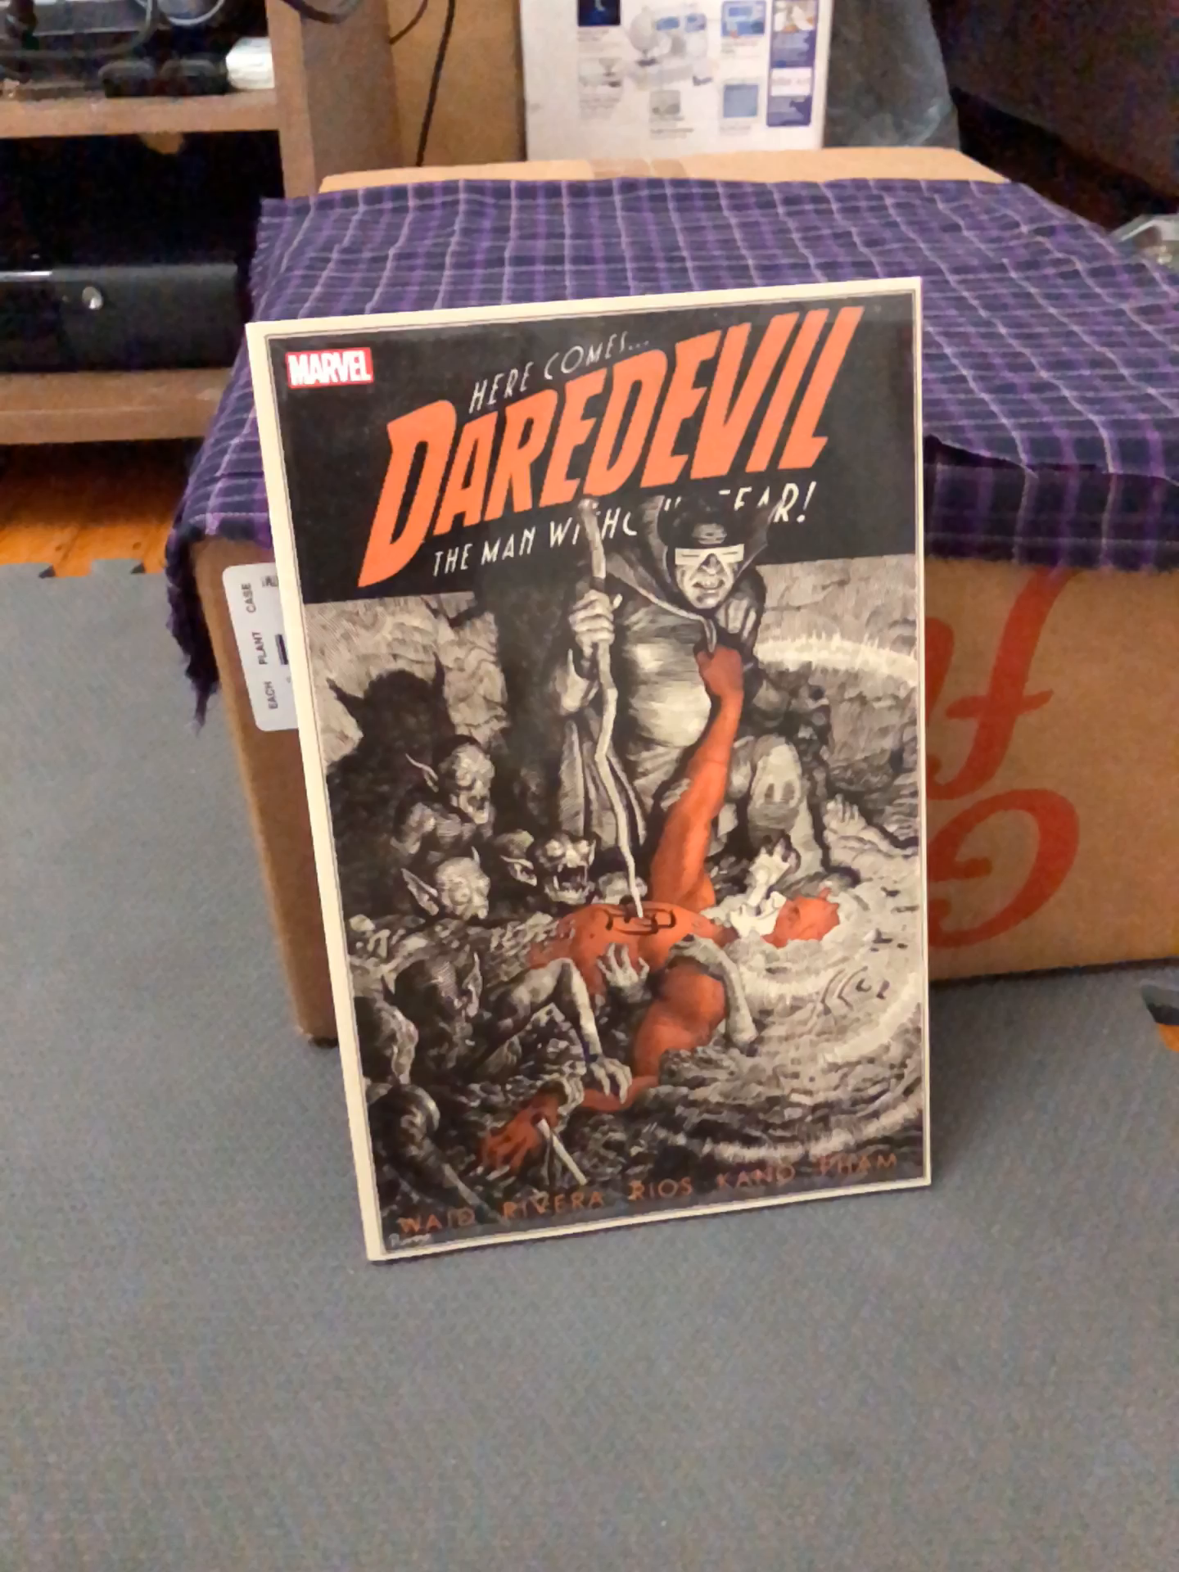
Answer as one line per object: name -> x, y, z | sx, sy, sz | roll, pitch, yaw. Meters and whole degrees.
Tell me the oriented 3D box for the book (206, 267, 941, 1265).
book -> 0.005, 0.000, 0.322 | 0.160, 0.229, 0.020 | -6, 14, -6
